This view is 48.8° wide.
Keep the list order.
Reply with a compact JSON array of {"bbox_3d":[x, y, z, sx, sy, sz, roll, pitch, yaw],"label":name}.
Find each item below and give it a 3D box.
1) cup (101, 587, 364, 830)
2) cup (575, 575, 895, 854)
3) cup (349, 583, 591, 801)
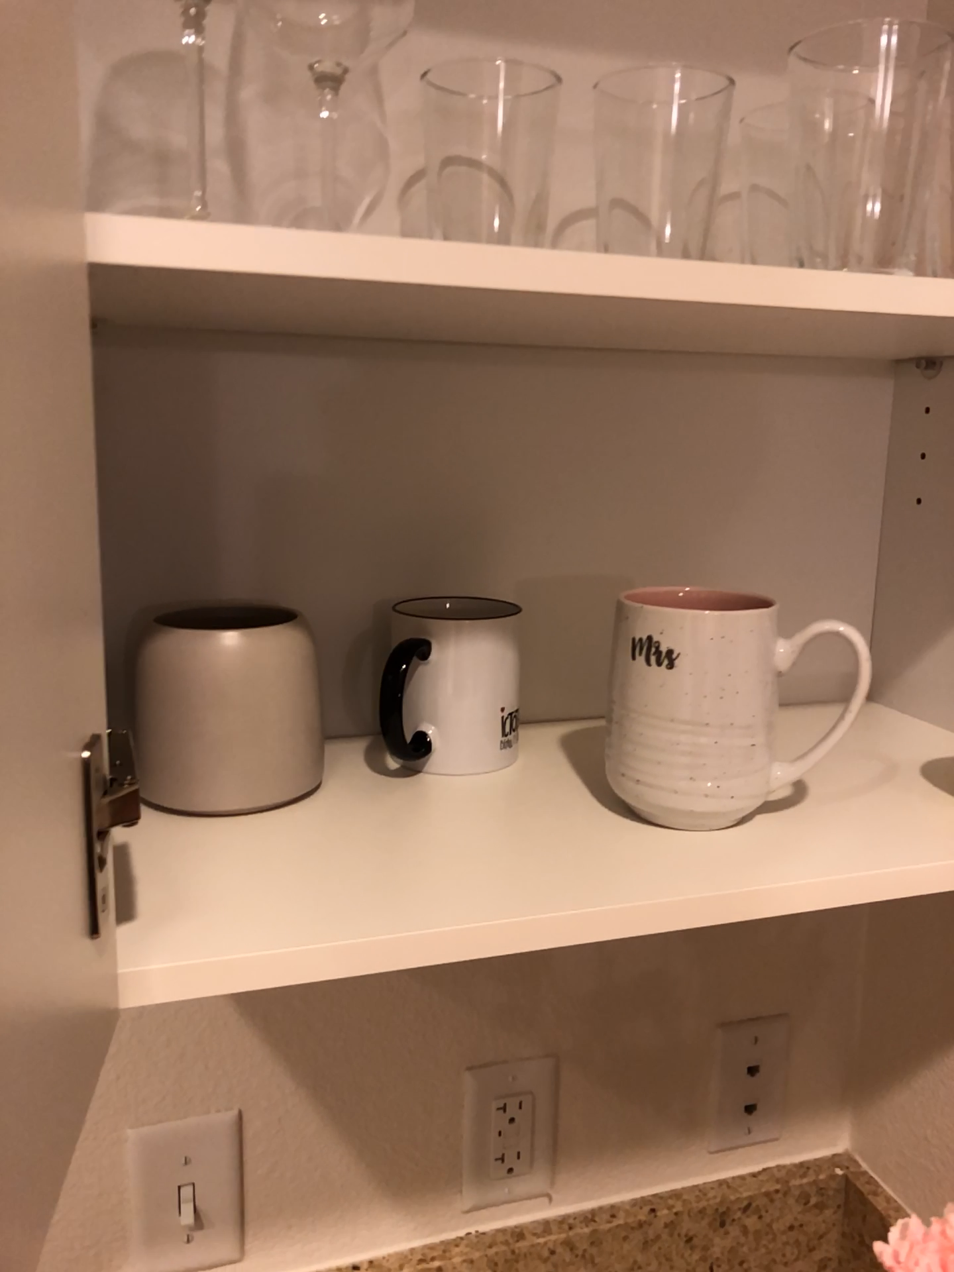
[{"bbox_3d":[-0.139,0.030,0.580,0.110,0.090,0.150,-4,12,-25],"label":"cup"},{"bbox_3d":[0.130,0.033,0.536,0.140,0.110,0.090,4,11,17],"label":"cup"},{"bbox_3d":[-0.002,0.025,0.591,0.090,0.090,0.110,7,12,30],"label":"cup"}]
